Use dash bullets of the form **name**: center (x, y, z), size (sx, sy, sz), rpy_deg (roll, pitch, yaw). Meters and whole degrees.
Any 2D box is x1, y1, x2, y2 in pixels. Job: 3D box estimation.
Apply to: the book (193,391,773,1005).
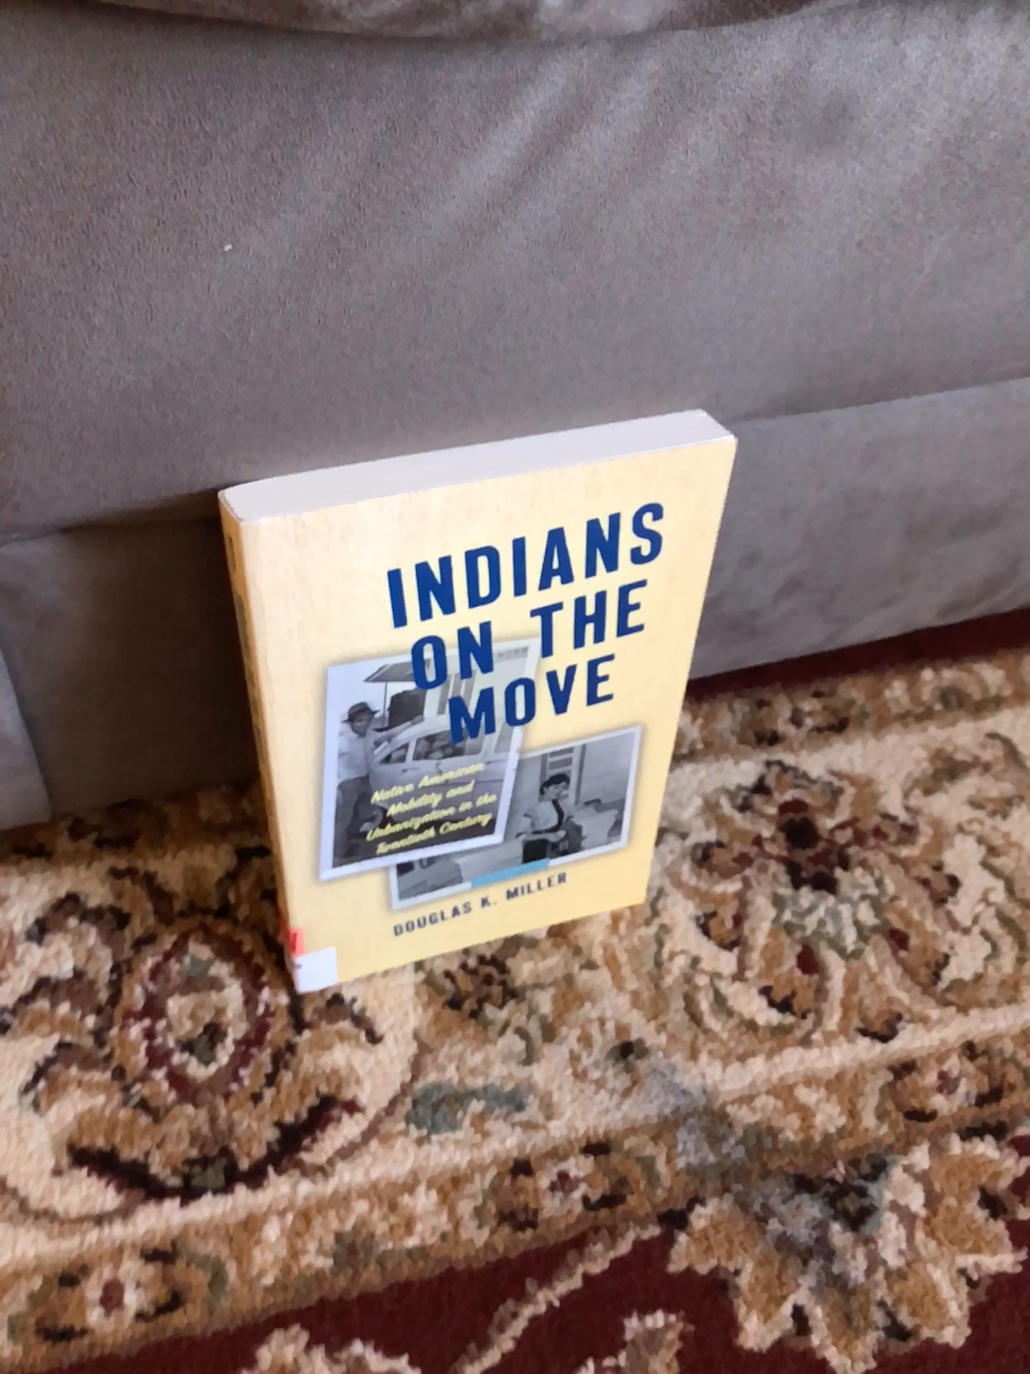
- **book**: center (-0.010, 0.017, 0.400), size (0.160, 0.230, 0.030), rpy_deg (-12, 47, -14)
